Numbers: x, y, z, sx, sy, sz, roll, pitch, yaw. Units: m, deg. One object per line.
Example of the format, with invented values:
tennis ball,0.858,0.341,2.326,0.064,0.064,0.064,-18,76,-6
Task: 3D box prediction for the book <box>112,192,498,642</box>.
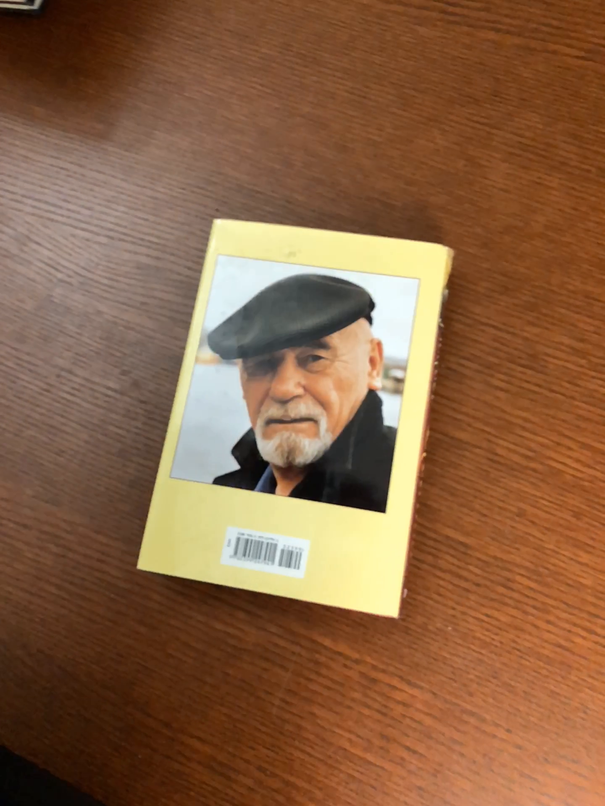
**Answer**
book,0.007,-0.002,0.419,0.190,0.030,0.250,9,76,8
